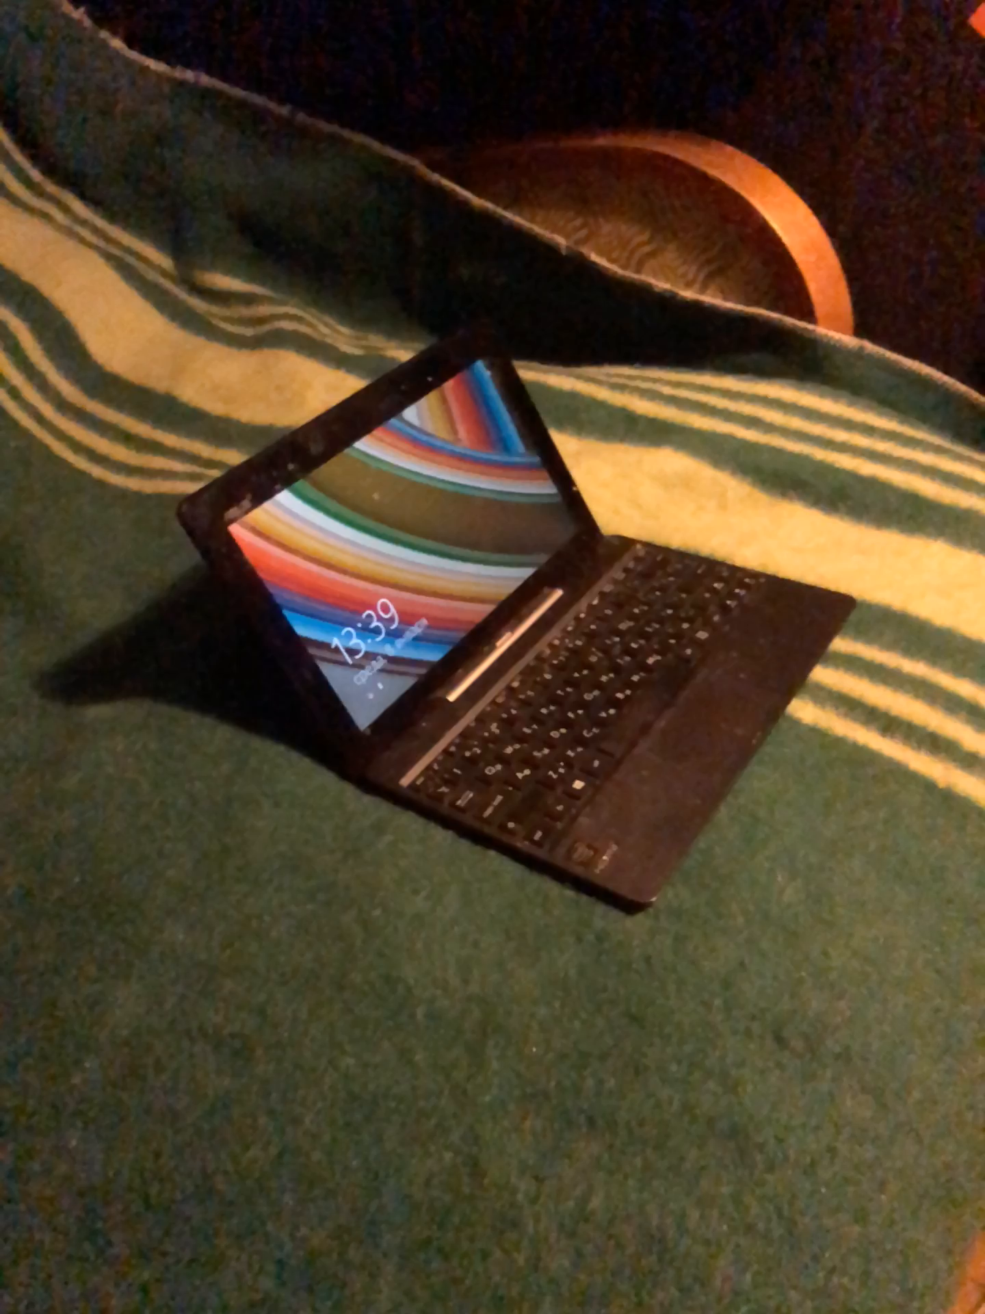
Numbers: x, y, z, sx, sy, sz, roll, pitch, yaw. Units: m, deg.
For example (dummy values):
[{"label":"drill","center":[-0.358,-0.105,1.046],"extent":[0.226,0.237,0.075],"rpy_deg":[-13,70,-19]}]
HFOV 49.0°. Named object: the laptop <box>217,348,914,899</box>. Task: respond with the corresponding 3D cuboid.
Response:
[{"label":"laptop","center":[0.039,-0.045,0.586],"extent":[0.257,0.116,0.258],"rpy_deg":[21,45,27]}]
